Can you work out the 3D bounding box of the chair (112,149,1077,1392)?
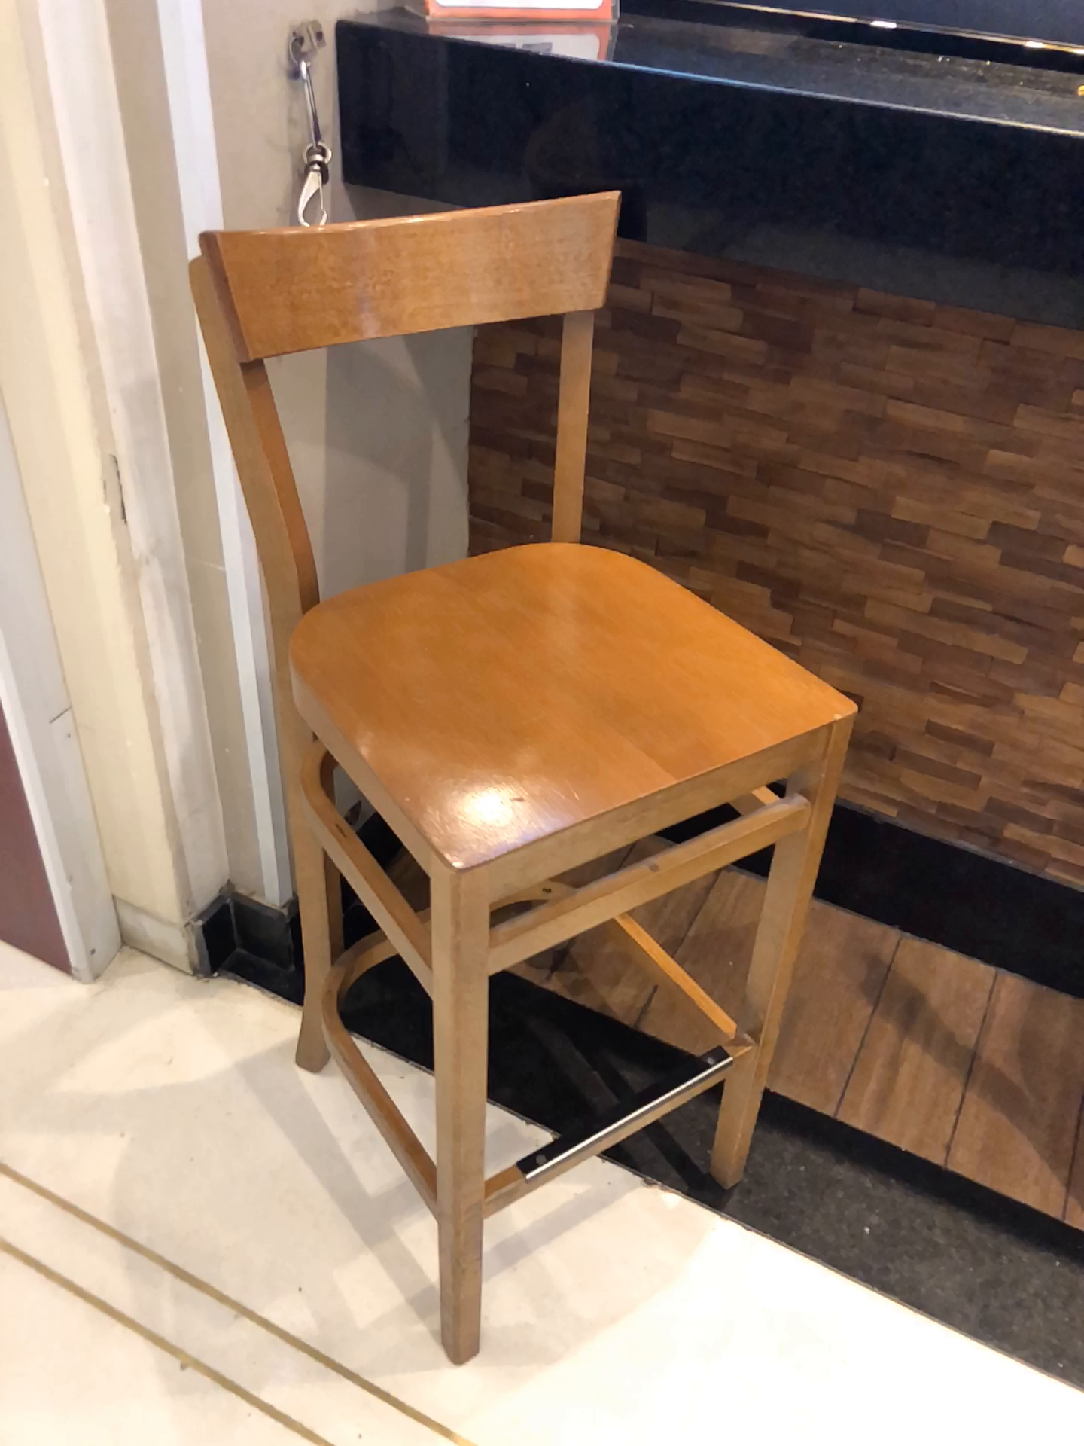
[{"bbox_3d":[-0.013,0.055,1.163,0.482,0.993,0.532,-21,44,-29],"label":"chair"}]
